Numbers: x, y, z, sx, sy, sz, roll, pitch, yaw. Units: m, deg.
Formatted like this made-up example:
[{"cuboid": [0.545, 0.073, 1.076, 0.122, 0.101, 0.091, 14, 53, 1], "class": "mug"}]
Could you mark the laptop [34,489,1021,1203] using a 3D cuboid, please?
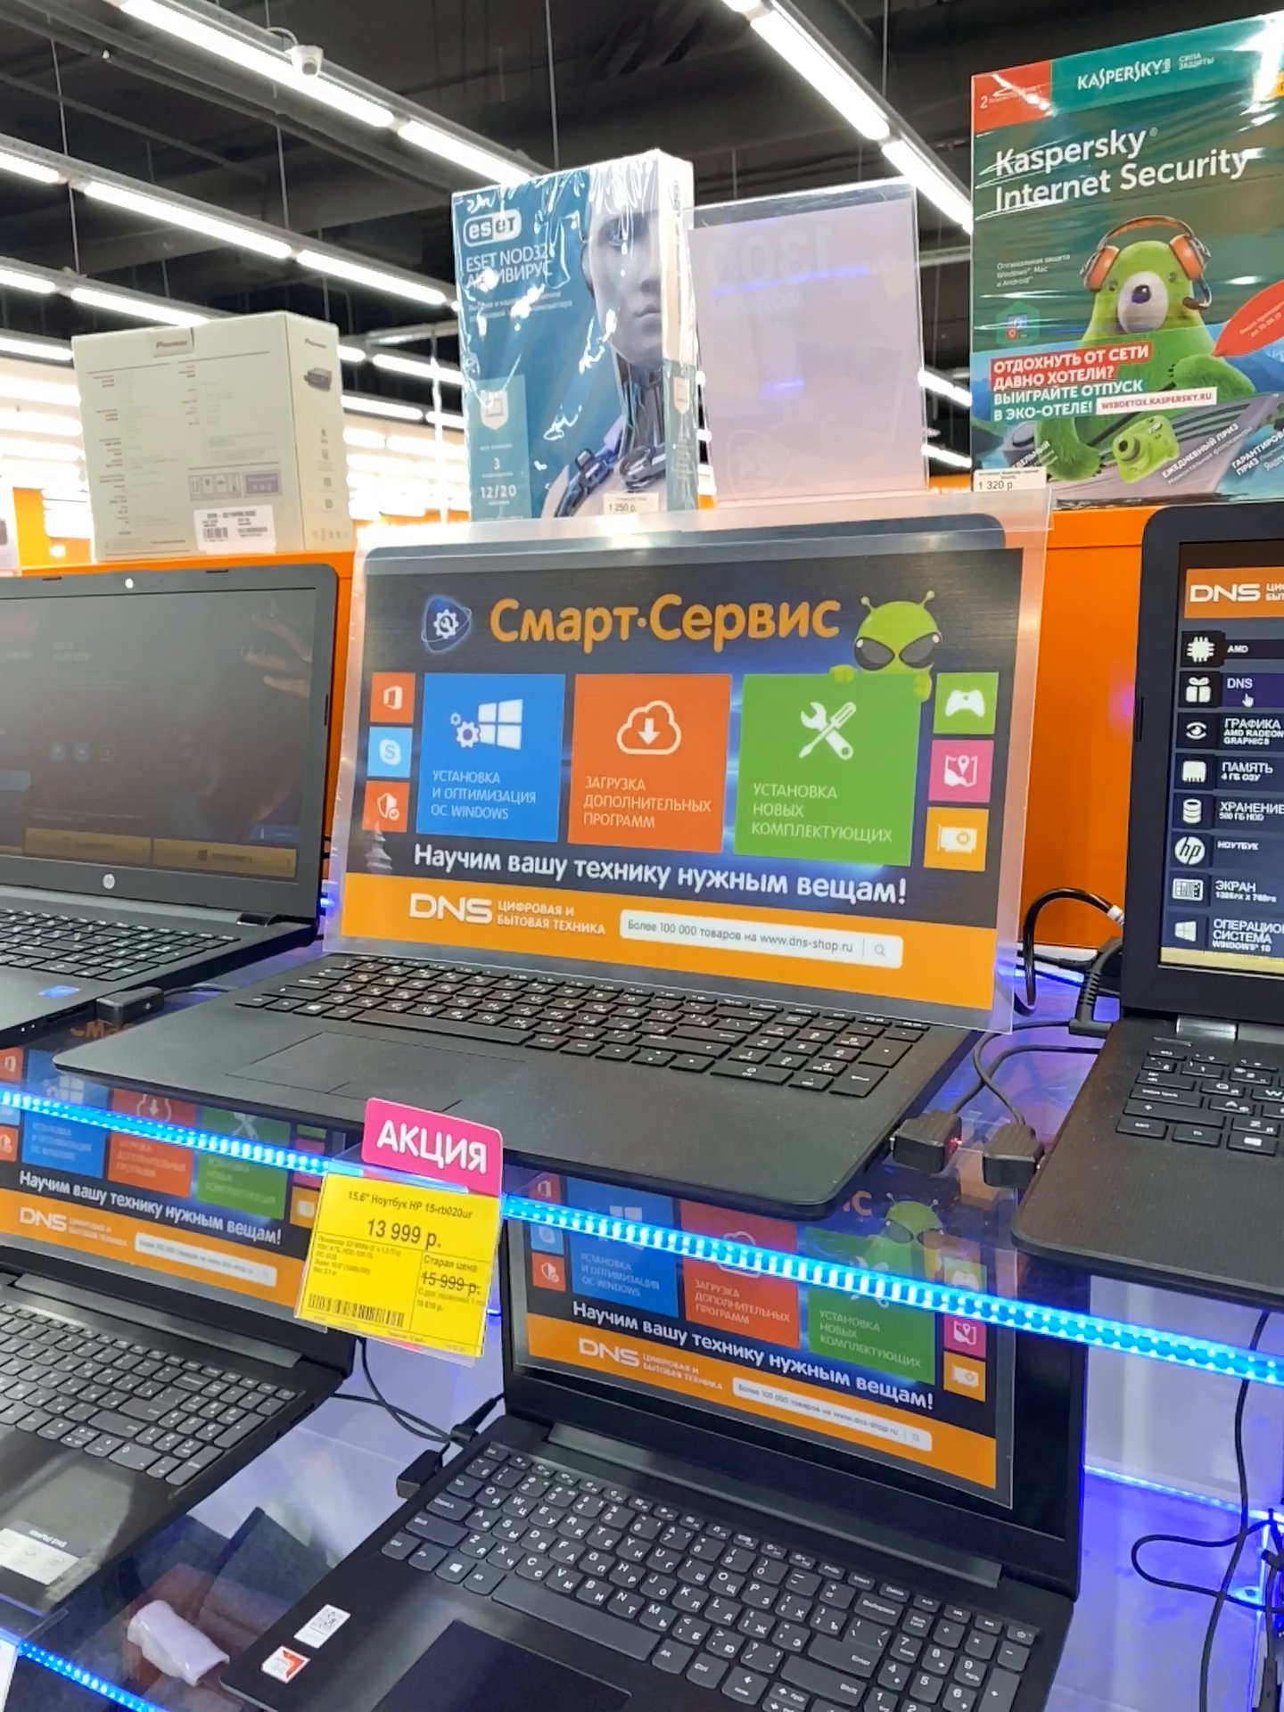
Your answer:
[{"cuboid": [-0.043, -0.032, 0.630, 0.377, 0.235, 0.262, 3, 11, 28], "class": "laptop"}]
